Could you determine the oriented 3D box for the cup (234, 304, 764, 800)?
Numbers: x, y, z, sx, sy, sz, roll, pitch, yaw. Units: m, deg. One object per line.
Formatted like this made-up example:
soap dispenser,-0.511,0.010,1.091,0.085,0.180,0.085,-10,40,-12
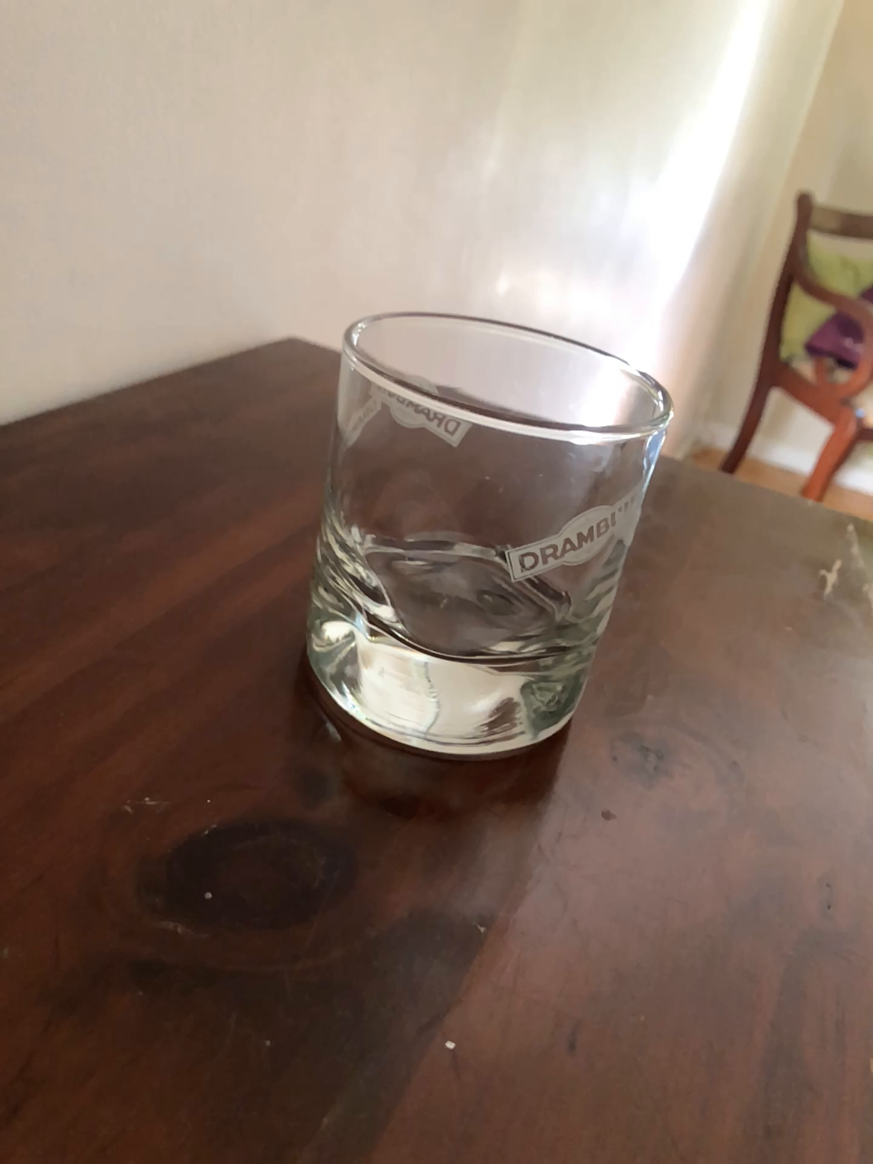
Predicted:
cup,0.009,-0.014,0.237,0.082,0.080,0.081,10,27,-5
